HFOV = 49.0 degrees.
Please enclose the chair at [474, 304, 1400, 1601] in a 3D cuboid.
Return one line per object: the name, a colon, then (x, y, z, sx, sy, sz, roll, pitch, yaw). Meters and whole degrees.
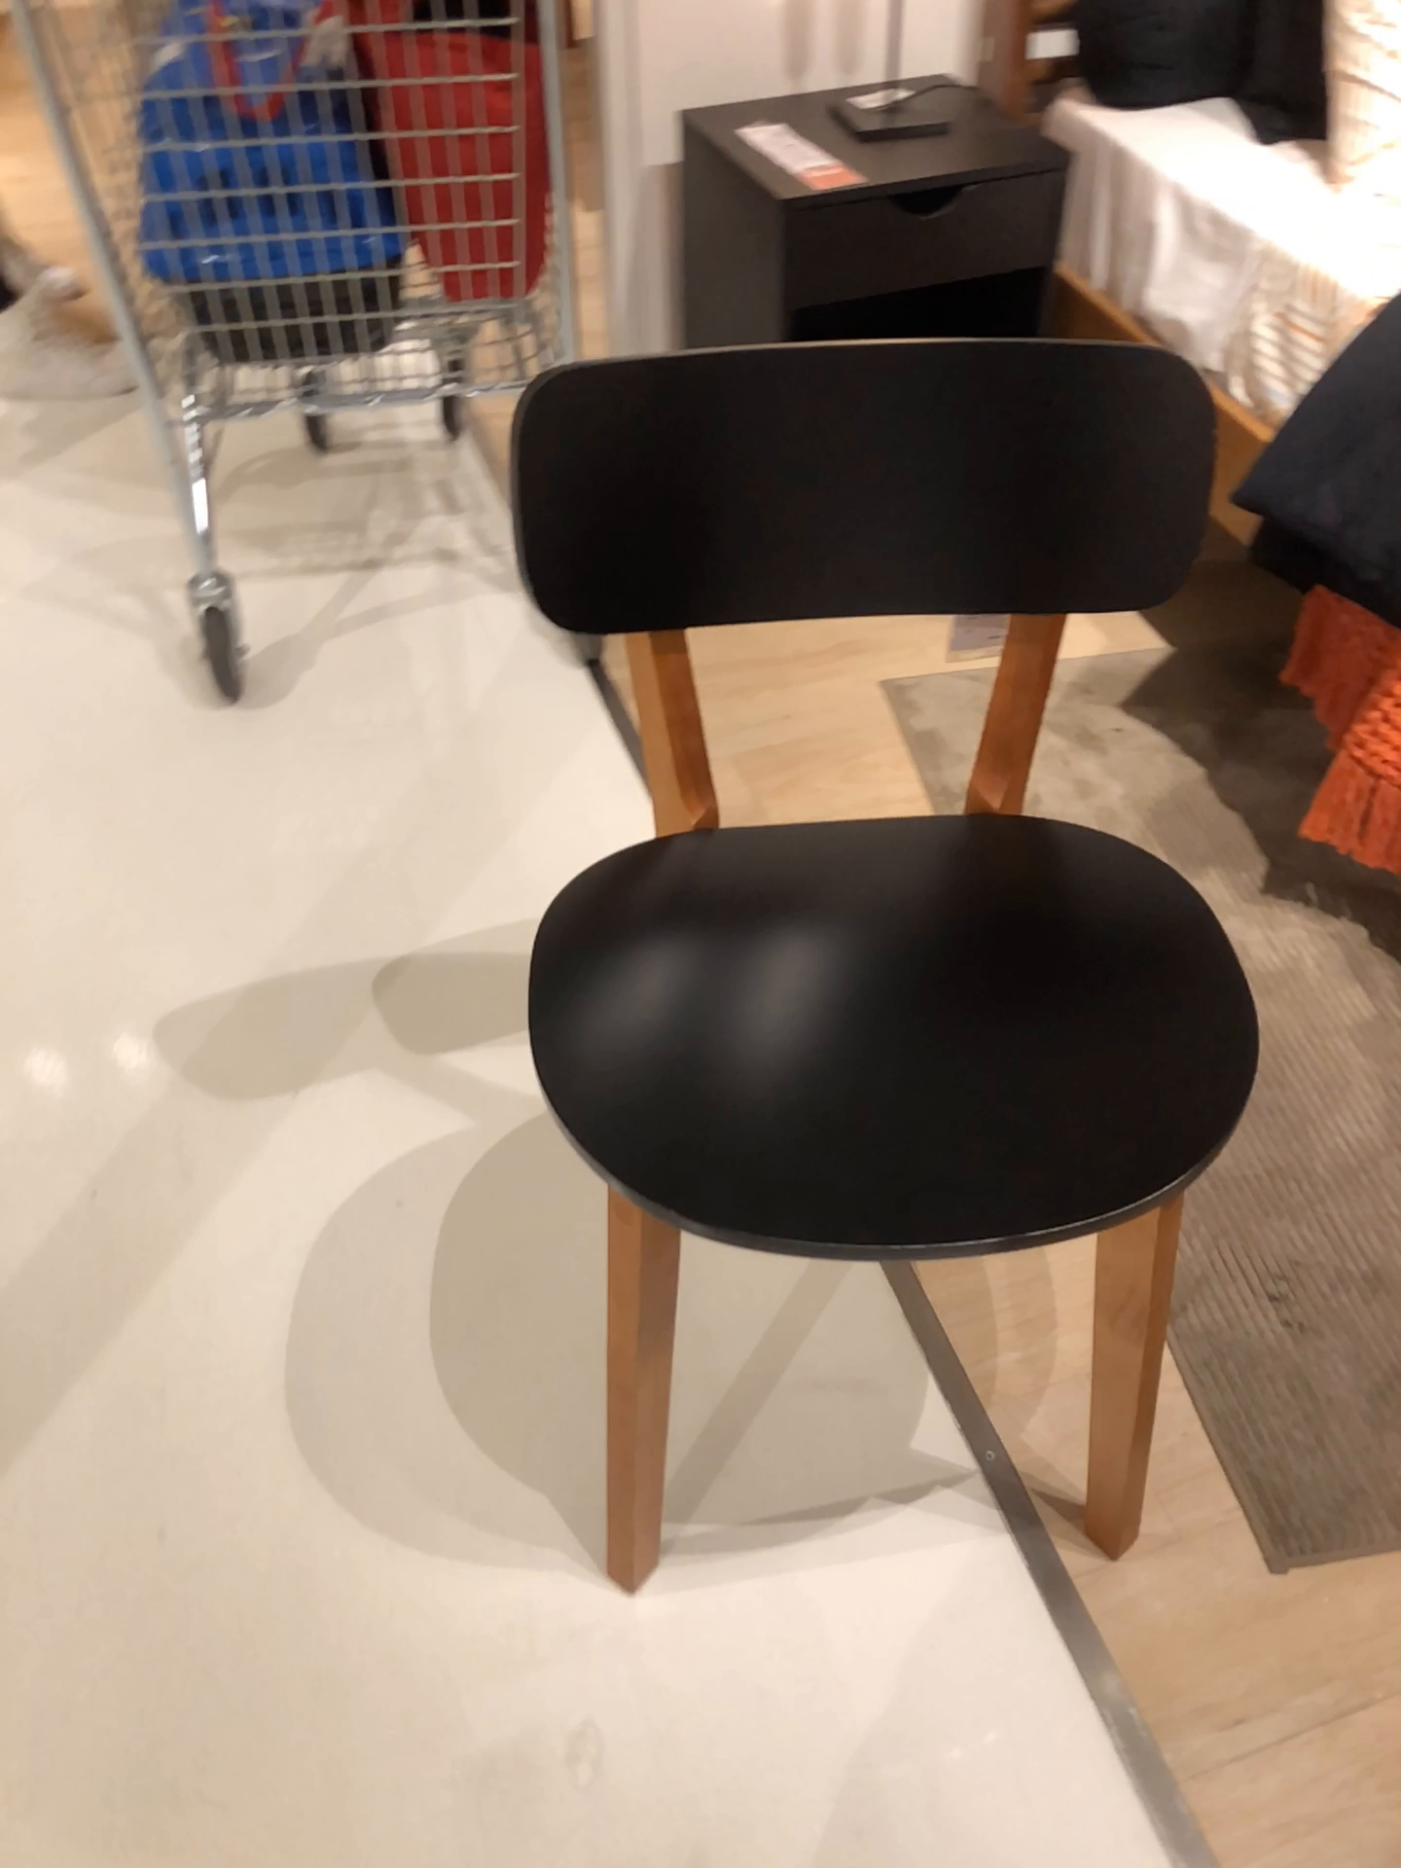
chair: (0.121, 0.037, 1.035, 0.460, 0.705, 0.483, -4, 44, -3)
